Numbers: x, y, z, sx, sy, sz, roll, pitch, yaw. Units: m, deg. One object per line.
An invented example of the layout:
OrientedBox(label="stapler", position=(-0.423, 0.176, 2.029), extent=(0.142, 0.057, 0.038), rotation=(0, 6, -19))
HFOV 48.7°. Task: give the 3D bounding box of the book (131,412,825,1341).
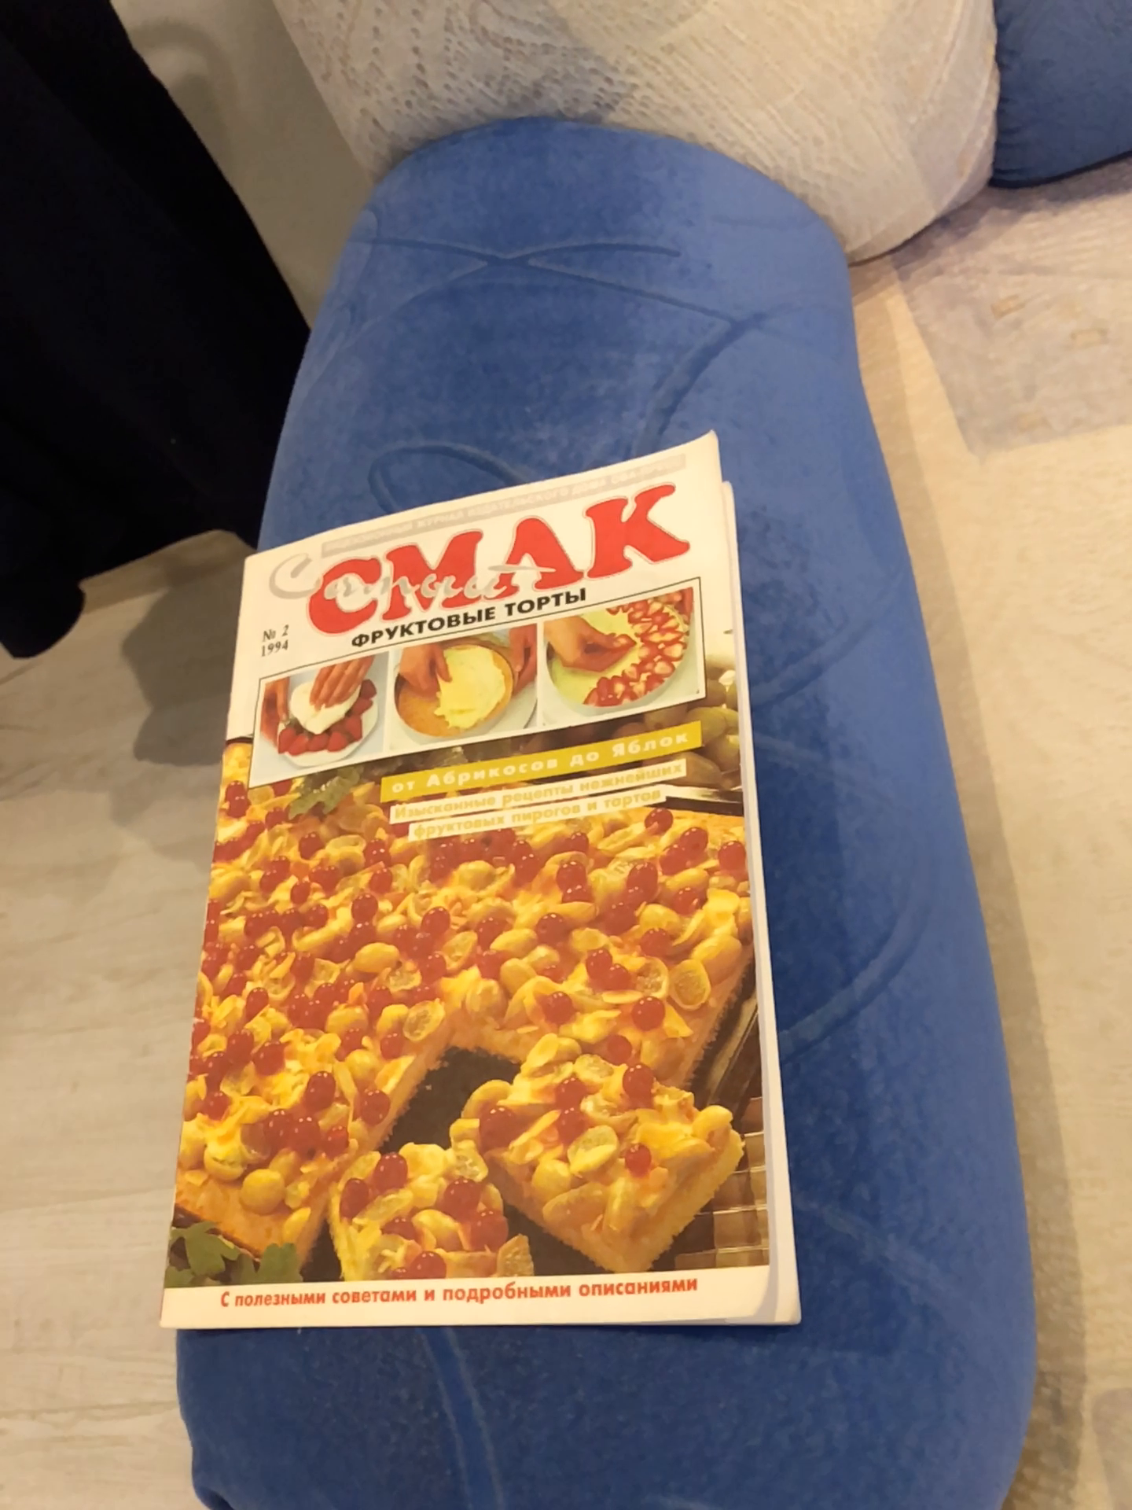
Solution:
OrientedBox(label="book", position=(-0.028, 0.027, 0.336), extent=(0.172, 0.010, 0.236), rotation=(-11, 63, 20))
